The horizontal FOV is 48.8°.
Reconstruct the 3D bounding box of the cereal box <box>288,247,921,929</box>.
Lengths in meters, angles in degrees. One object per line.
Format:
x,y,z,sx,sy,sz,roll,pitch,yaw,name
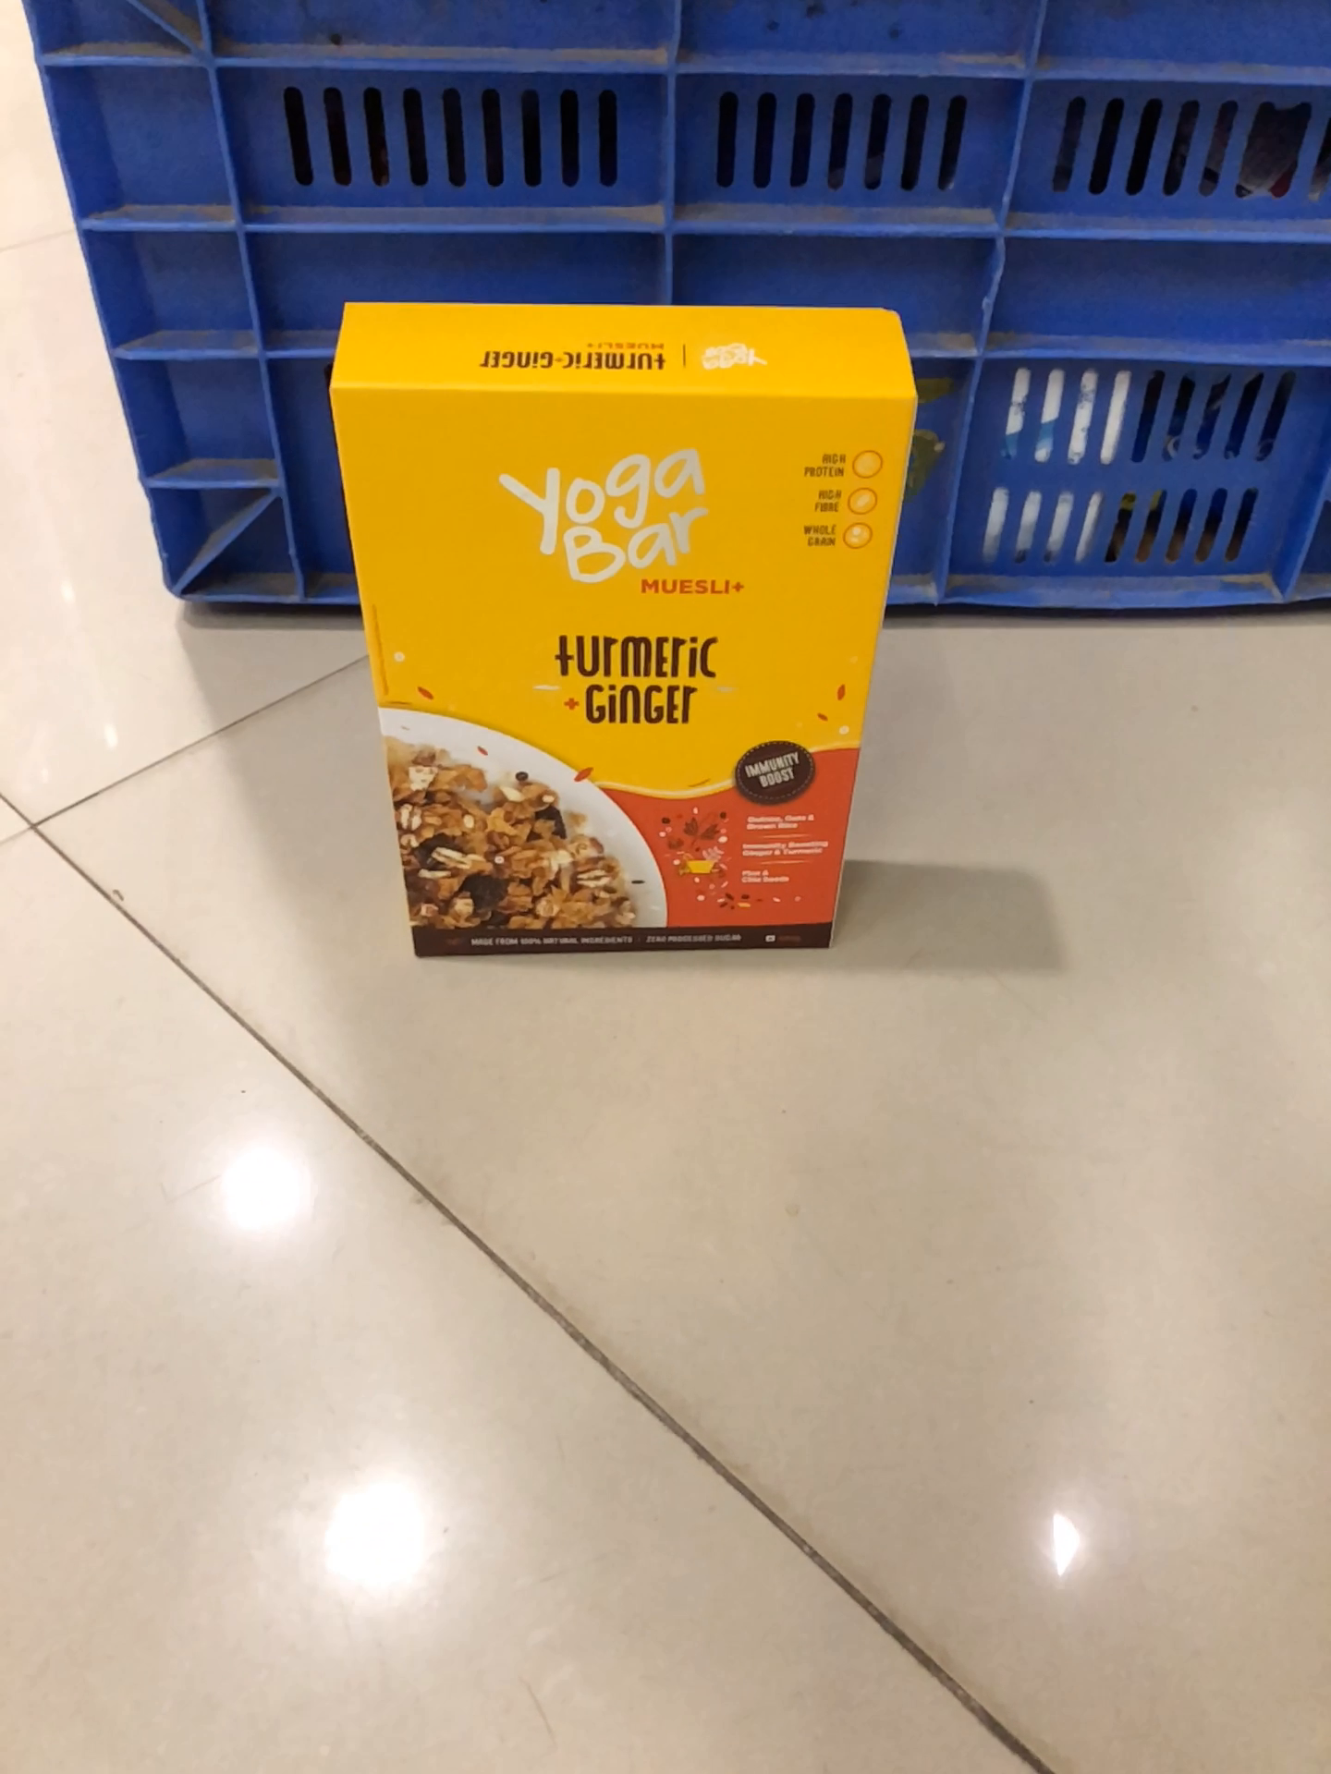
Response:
-0.018,-0.088,0.496,0.170,0.228,0.060,-1,45,-2,cereal box
